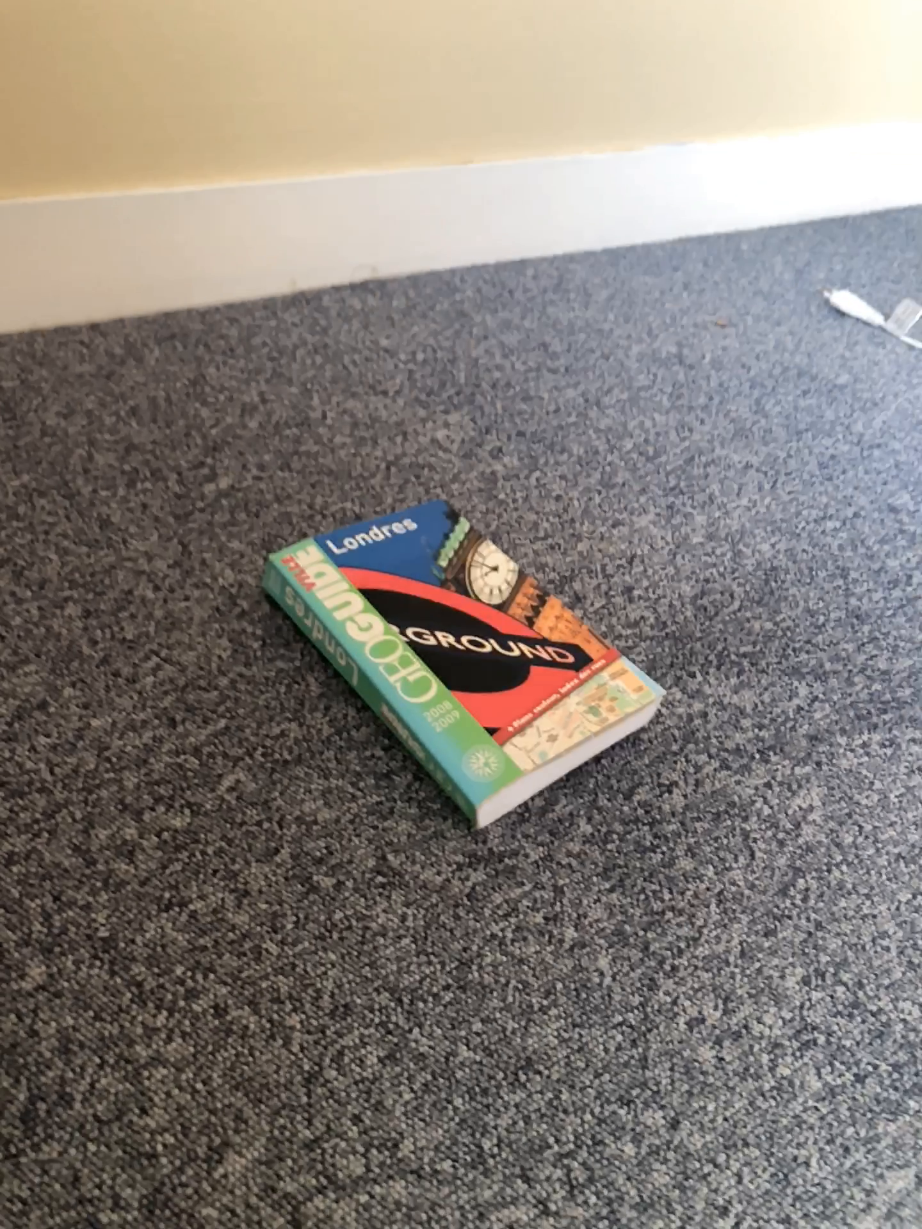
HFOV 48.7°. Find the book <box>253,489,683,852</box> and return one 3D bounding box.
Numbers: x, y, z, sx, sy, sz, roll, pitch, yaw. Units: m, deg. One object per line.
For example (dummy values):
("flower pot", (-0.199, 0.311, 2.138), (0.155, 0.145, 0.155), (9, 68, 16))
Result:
("book", (-0.002, 0.016, 0.539), (0.131, 0.030, 0.200), (-22, 51, -32))
